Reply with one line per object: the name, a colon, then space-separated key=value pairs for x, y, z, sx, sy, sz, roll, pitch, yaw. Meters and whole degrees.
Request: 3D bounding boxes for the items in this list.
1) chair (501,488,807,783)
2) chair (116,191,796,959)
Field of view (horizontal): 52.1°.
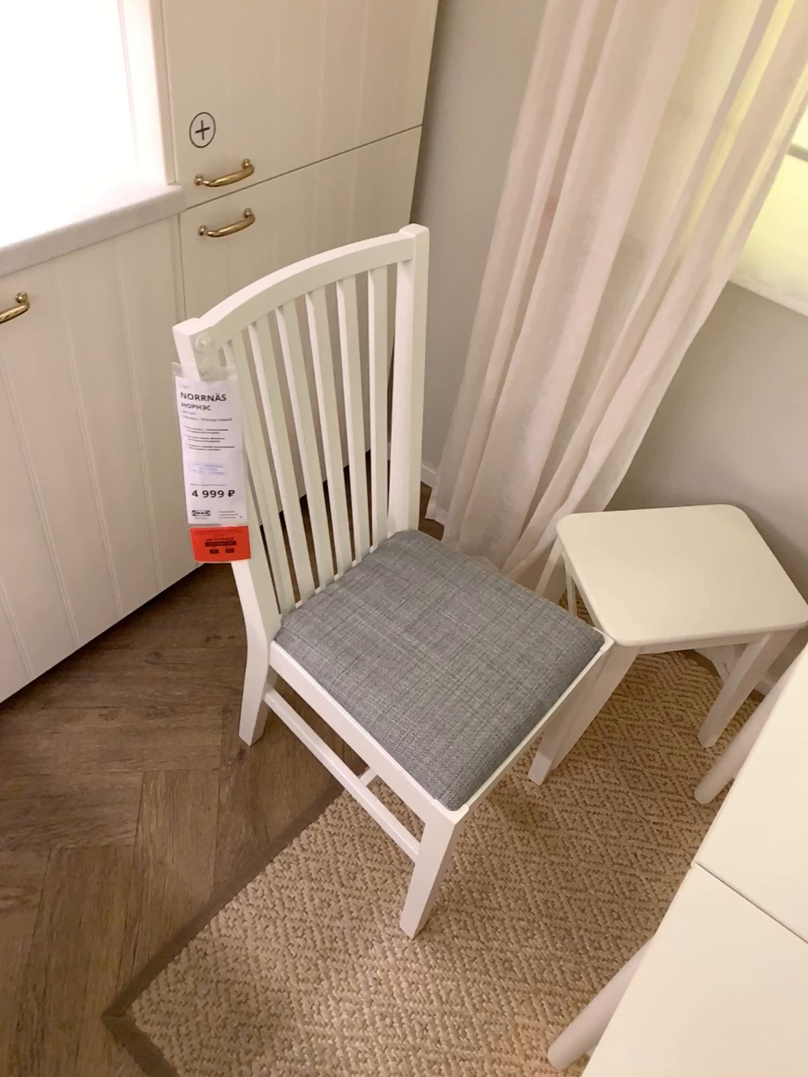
chair: x=0.509 y=0.187 z=1.662 sx=0.460 sy=0.388 sz=0.402 roll=-3 pitch=48 yaw=-13
chair: x=0.022 y=0.082 z=1.321 sx=0.621 sy=0.915 sz=0.552 roll=35 pitch=51 yaw=22
